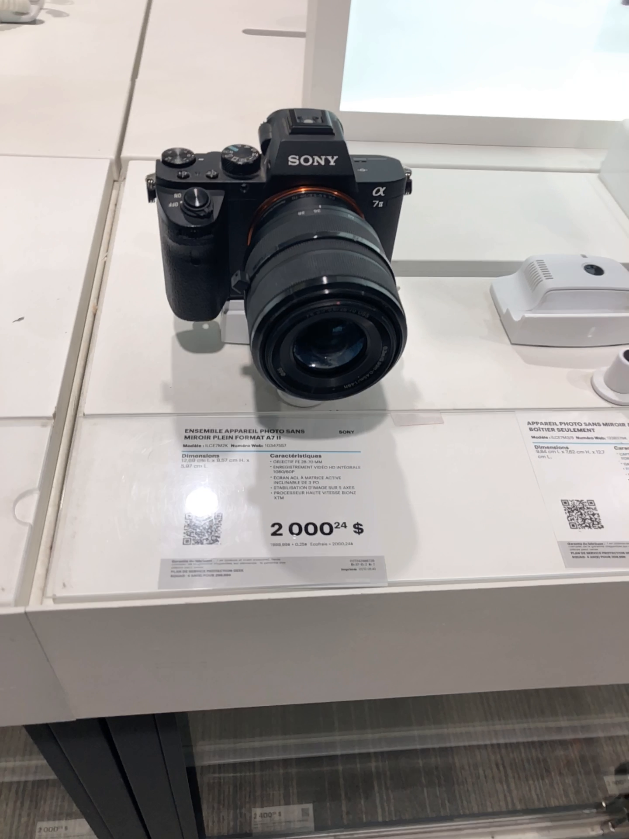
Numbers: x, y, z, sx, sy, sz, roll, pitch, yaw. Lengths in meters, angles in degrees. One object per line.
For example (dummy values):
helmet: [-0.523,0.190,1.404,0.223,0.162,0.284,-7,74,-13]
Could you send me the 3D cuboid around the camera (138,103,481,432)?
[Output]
camera: [-0.012,-0.079,0.347,0.134,0.099,0.131,-3,47,-8]
